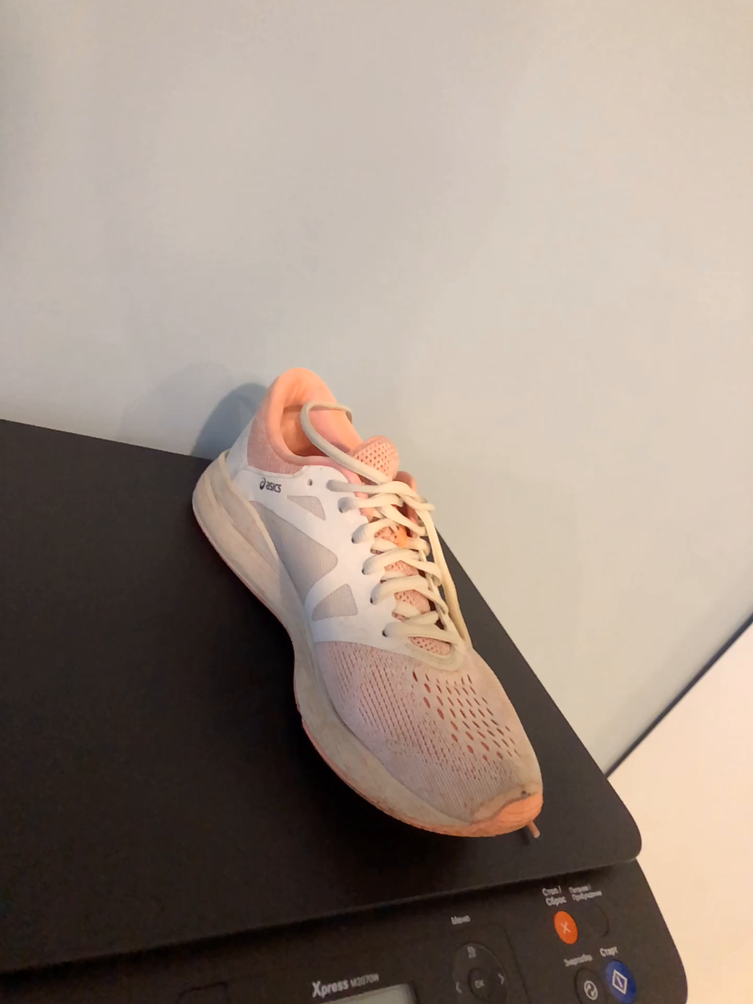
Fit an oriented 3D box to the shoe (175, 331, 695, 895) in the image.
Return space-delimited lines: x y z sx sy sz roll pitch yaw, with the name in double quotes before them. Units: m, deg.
"shoe" 0.008 0.034 0.398 0.116 0.089 0.254 9 34 -39
